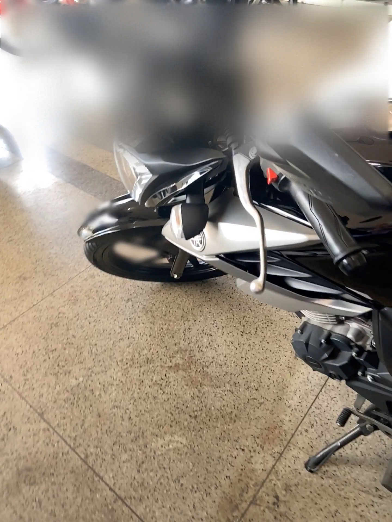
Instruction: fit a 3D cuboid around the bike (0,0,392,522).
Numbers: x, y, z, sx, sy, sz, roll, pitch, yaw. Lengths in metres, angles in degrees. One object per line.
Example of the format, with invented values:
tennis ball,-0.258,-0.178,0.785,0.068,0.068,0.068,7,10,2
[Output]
bike,0.391,0.228,0.714,2.004,1.331,0.819,23,49,26
